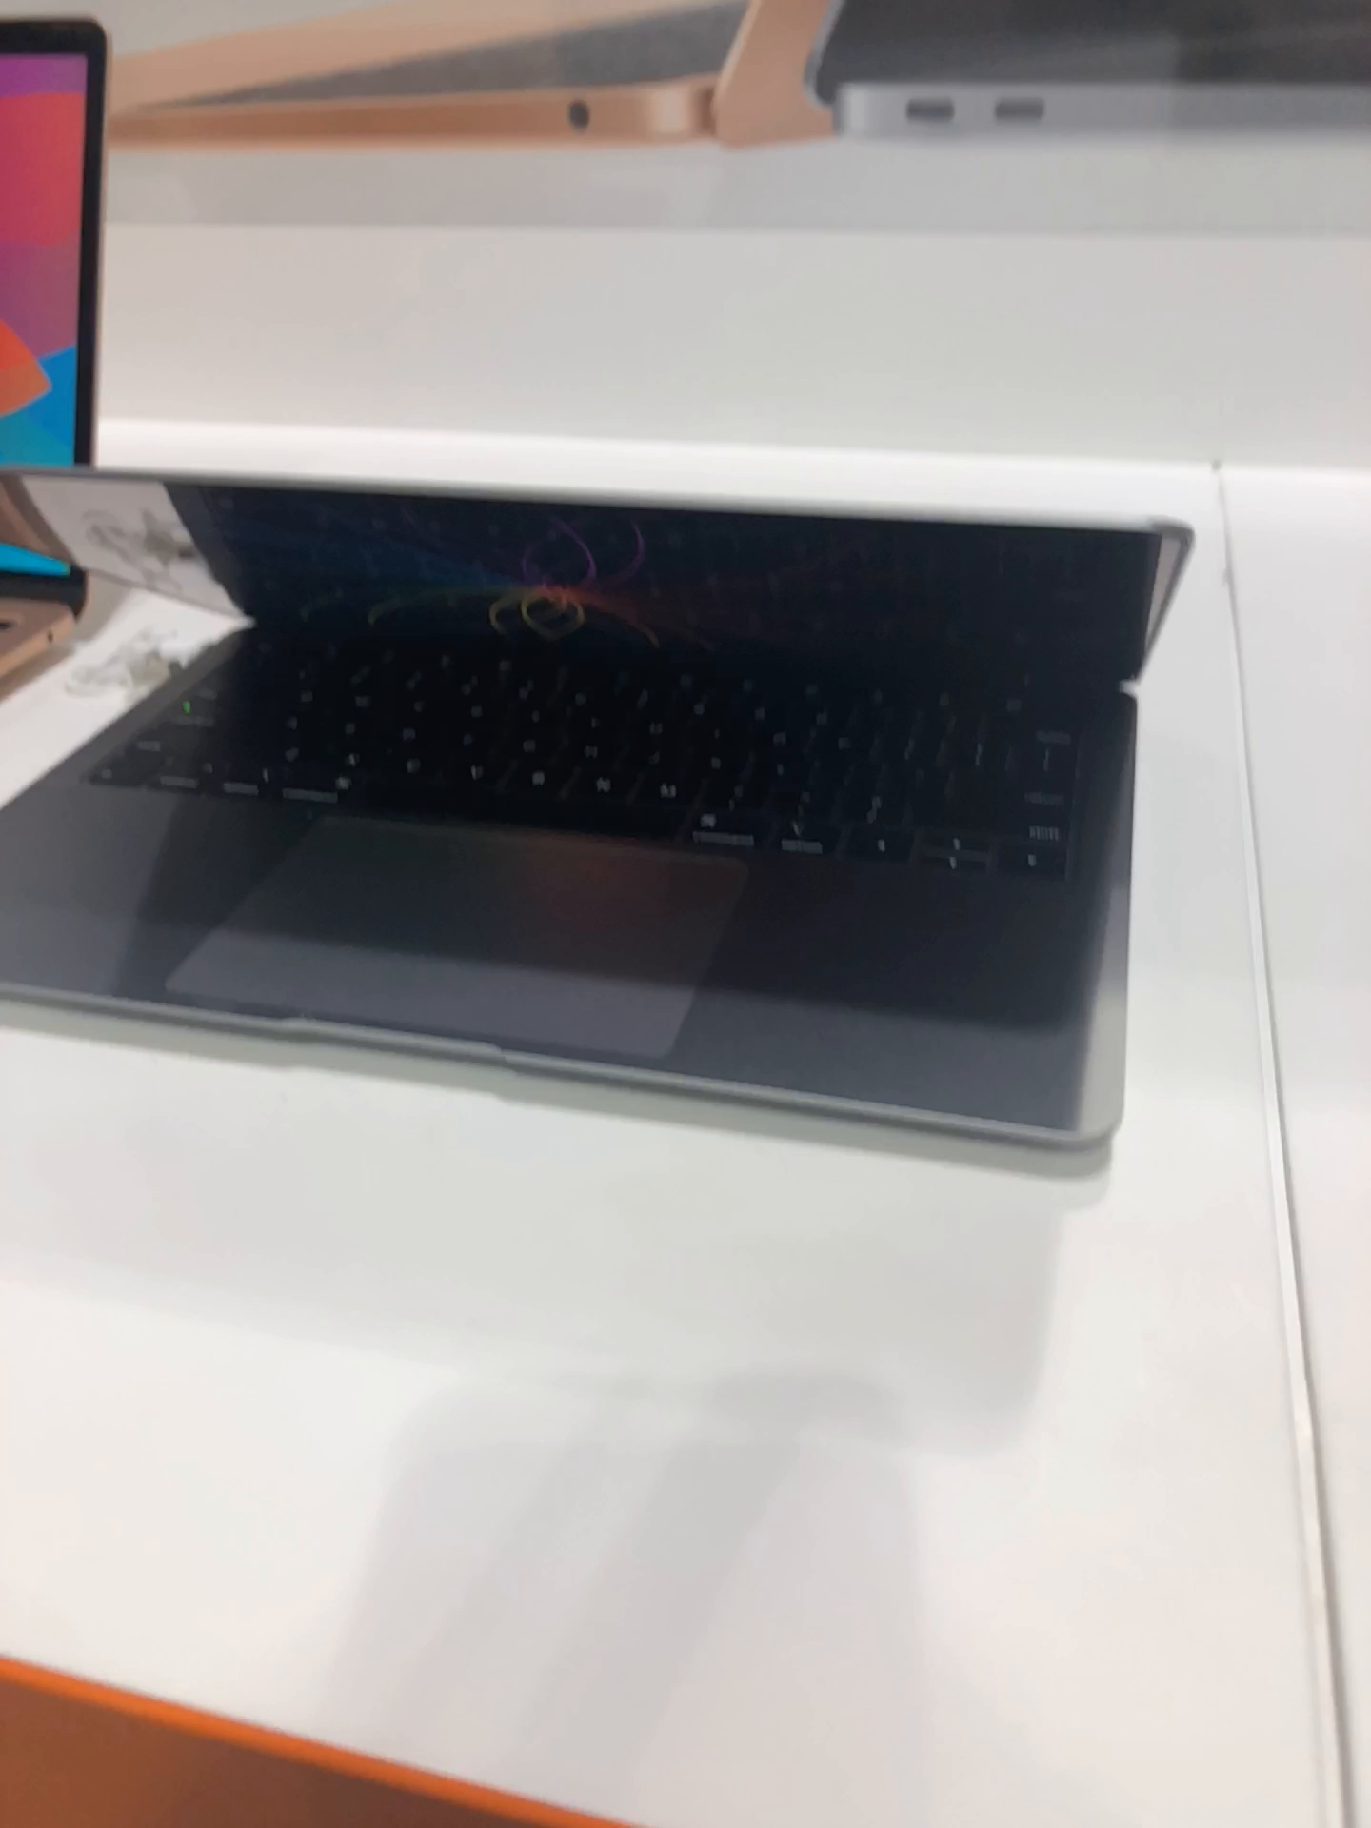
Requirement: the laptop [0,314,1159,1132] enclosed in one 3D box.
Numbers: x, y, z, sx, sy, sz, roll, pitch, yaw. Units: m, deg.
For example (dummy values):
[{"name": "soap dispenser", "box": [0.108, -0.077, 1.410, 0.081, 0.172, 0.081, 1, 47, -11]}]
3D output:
[{"name": "laptop", "box": [-0.038, -0.072, 0.381, 0.289, 0.102, 0.199, 7, 33, 13]}]
